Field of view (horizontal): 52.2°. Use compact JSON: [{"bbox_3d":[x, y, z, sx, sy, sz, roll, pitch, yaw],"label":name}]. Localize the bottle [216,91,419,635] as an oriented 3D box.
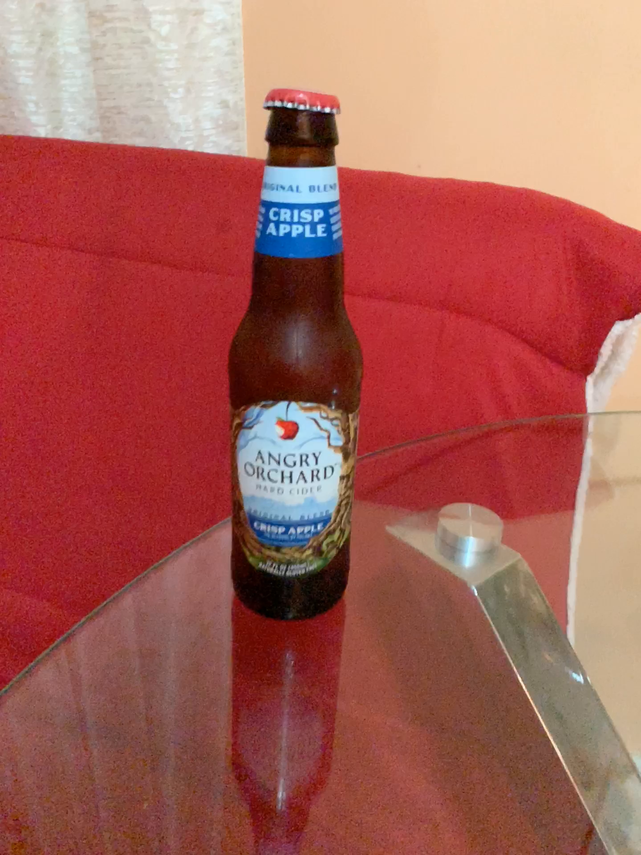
[{"bbox_3d":[-0.008,-0.022,0.303,0.070,0.231,0.070,3,23,-1],"label":"bottle"}]
